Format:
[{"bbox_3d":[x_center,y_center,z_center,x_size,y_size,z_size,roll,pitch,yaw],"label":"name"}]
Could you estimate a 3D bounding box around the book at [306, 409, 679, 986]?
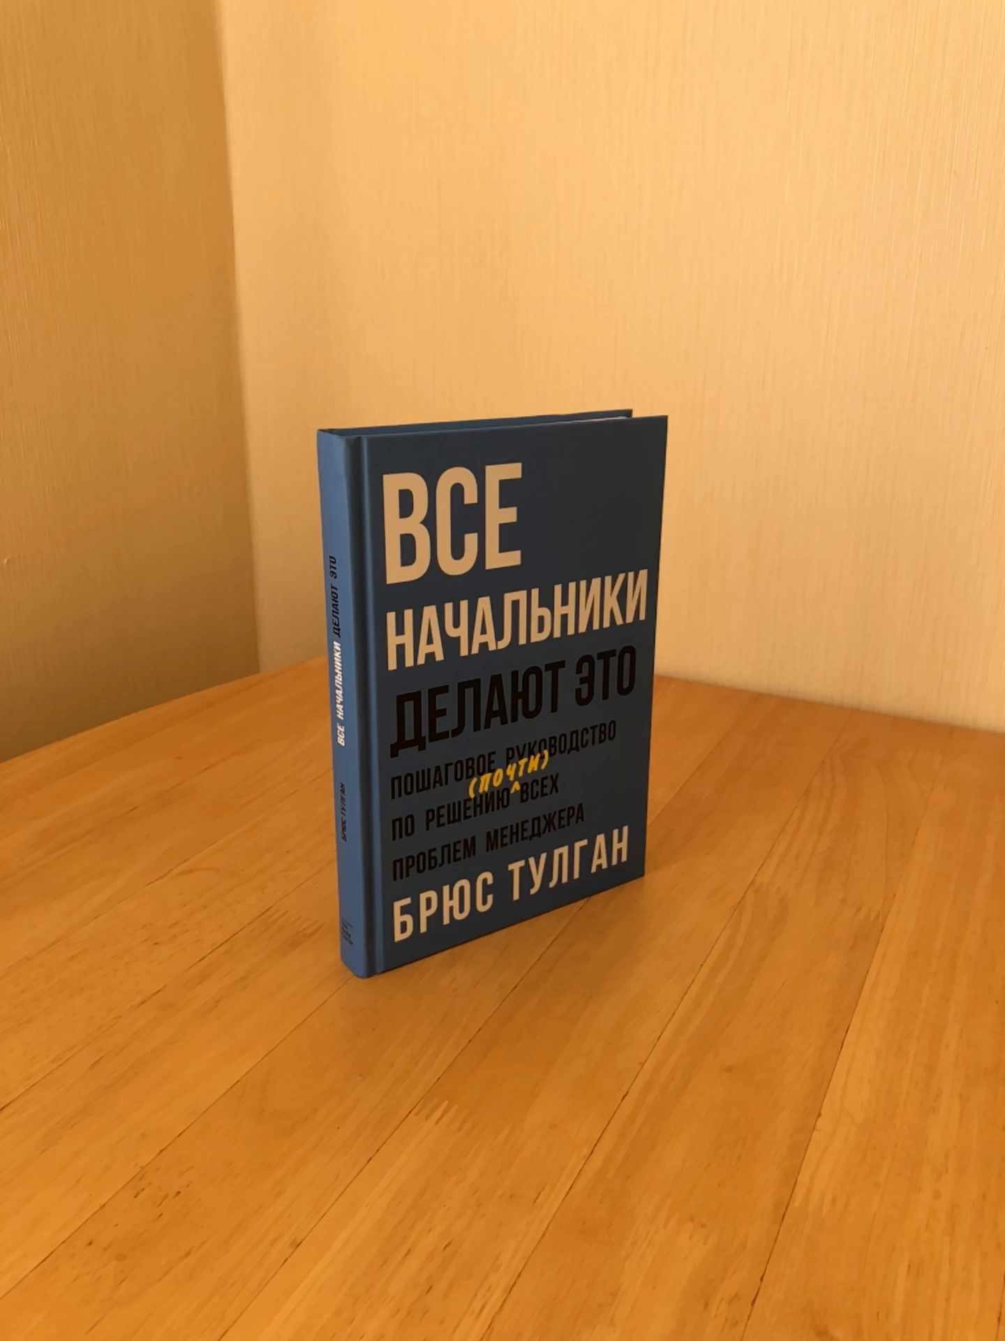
[{"bbox_3d":[0.001,0.006,0.447,0.150,0.208,0.025,-11,21,-32],"label":"book"}]
